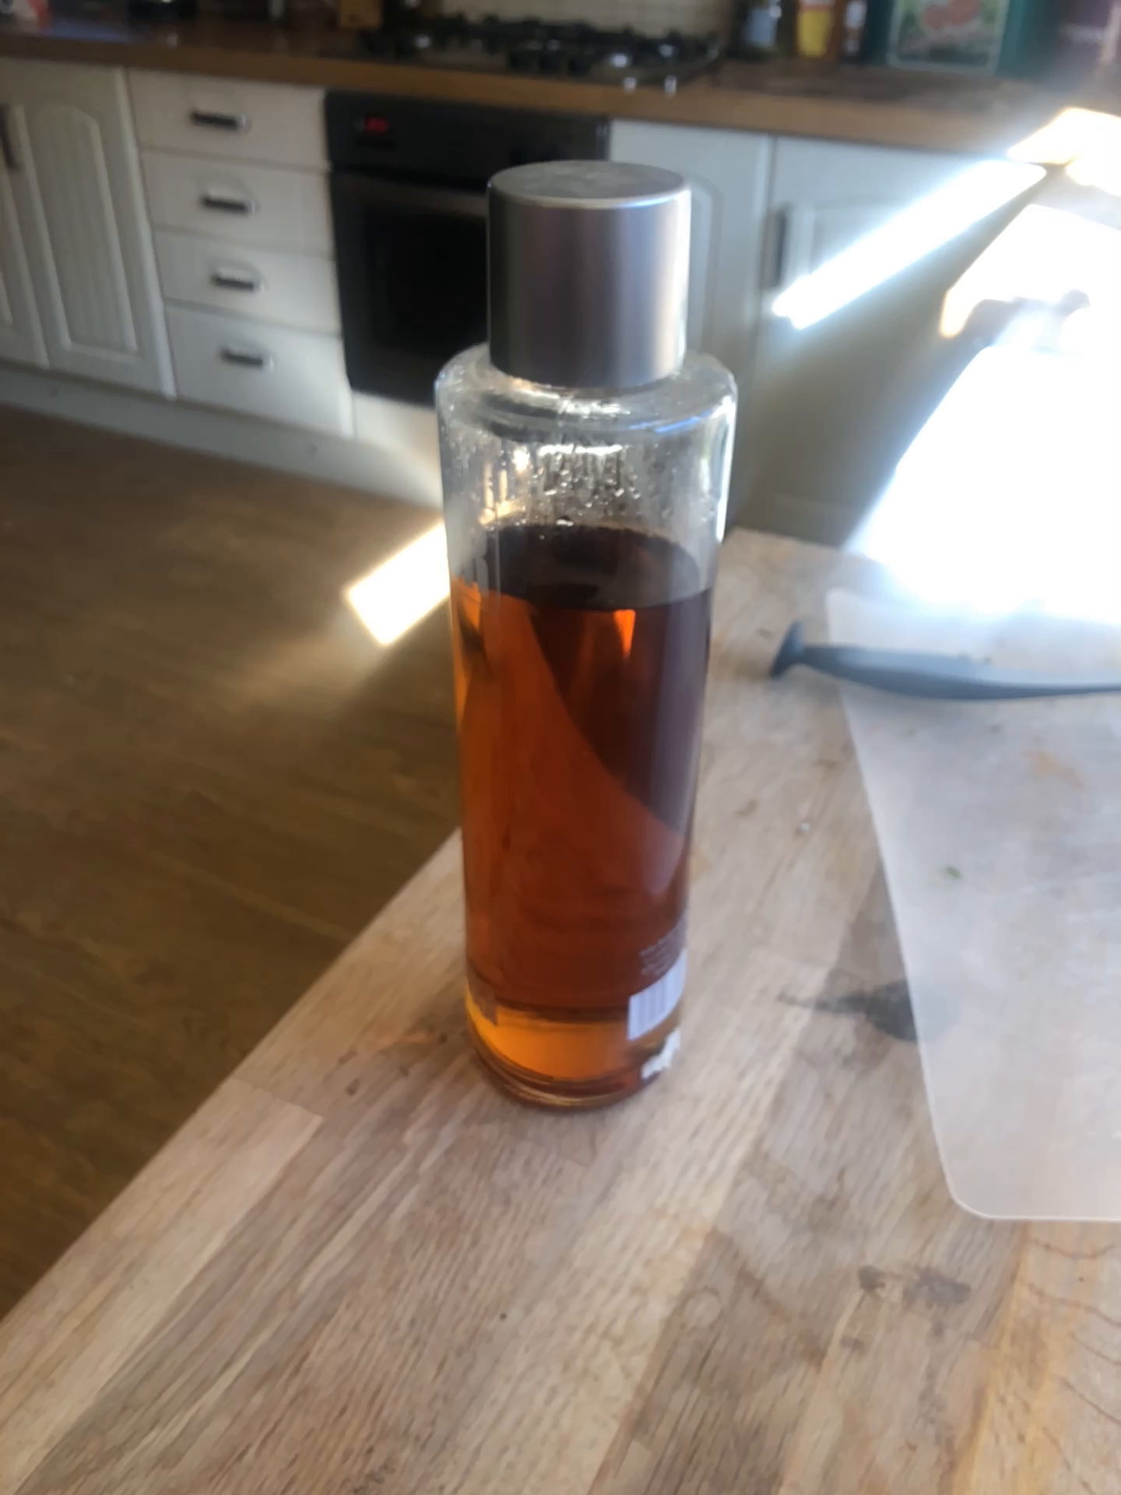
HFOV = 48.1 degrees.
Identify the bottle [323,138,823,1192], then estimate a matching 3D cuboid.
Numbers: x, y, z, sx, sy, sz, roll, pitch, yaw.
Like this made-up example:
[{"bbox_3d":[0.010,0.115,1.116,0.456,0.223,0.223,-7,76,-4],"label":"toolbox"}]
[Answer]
[{"bbox_3d":[0.003,-0.009,0.353,0.080,0.278,0.081,1,35,0],"label":"bottle"}]
